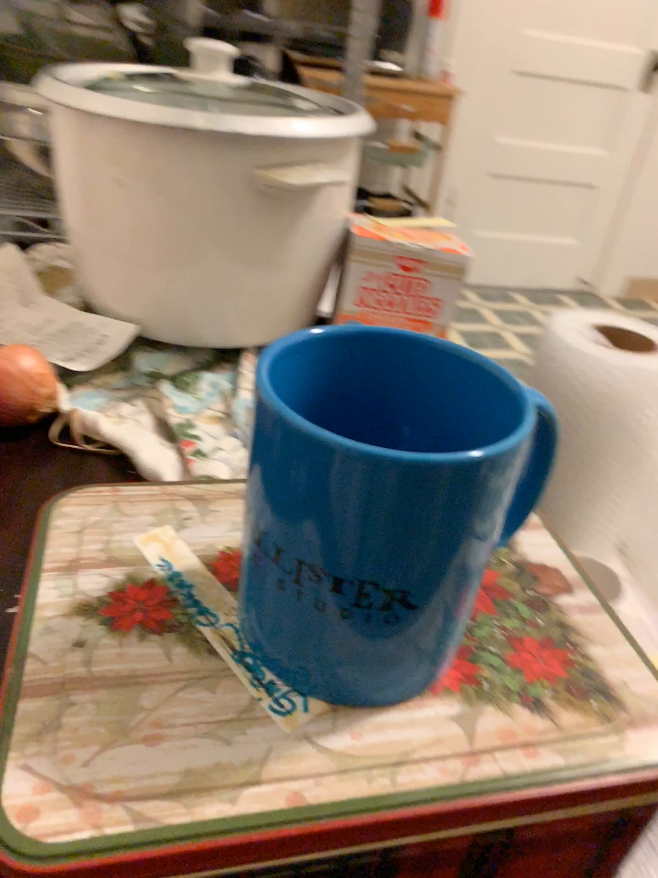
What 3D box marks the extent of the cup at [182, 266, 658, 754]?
[{"bbox_3d":[0.030,0.010,0.231,0.130,0.099,0.090,-15,39,-33],"label":"cup"}]
